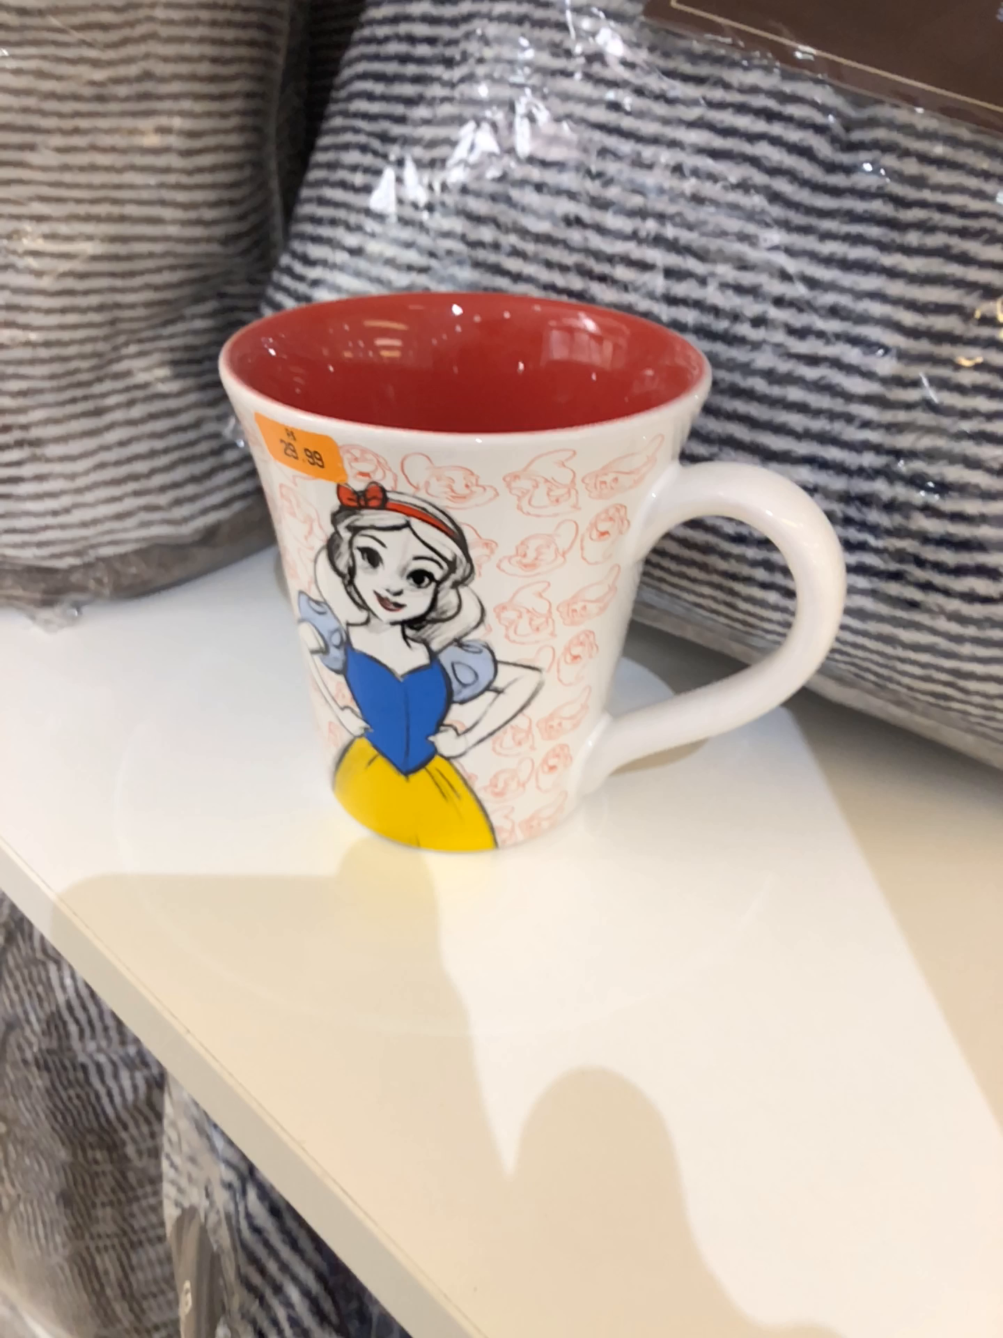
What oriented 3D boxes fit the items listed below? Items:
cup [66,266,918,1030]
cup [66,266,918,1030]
[{"bbox_3d":[0.002,-0.016,0.220,0.120,0.089,0.091,17,35,23],"label":"cup"},{"bbox_3d":[0.002,-0.016,0.220,0.120,0.089,0.091,17,35,23],"label":"cup"}]
